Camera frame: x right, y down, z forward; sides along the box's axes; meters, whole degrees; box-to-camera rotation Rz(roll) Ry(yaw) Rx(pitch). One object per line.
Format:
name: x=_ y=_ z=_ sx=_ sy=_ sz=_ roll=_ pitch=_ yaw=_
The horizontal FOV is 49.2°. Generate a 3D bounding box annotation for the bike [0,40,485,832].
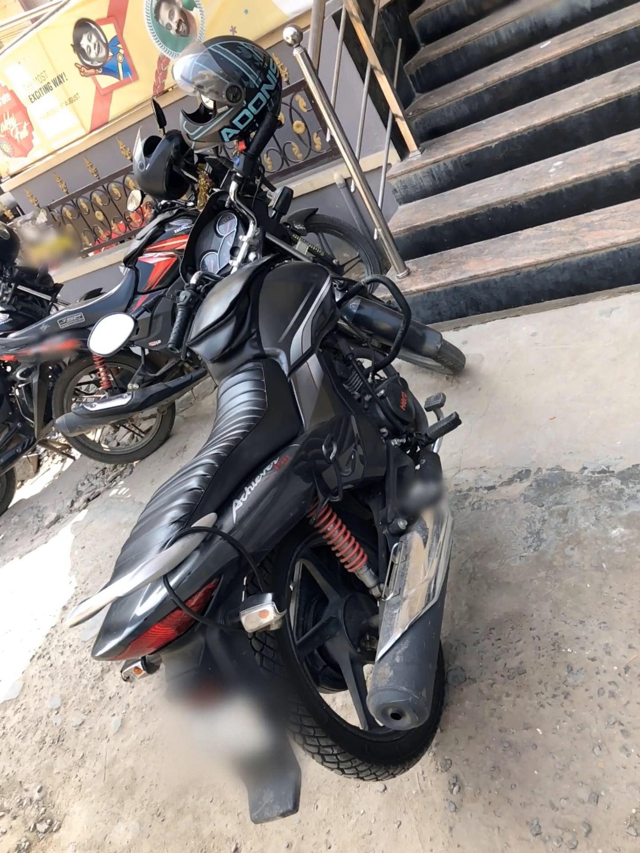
bike: x=-0.252 y=-0.132 z=1.903 sx=0.746 sy=1.156 sz=1.745 roll=-21 pitch=32 yaw=18

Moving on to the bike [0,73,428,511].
bike: x=-0.553 y=-0.594 z=3.062 sx=1.600 sy=1.056 sz=0.686 roll=-34 pitch=28 yaw=-9
